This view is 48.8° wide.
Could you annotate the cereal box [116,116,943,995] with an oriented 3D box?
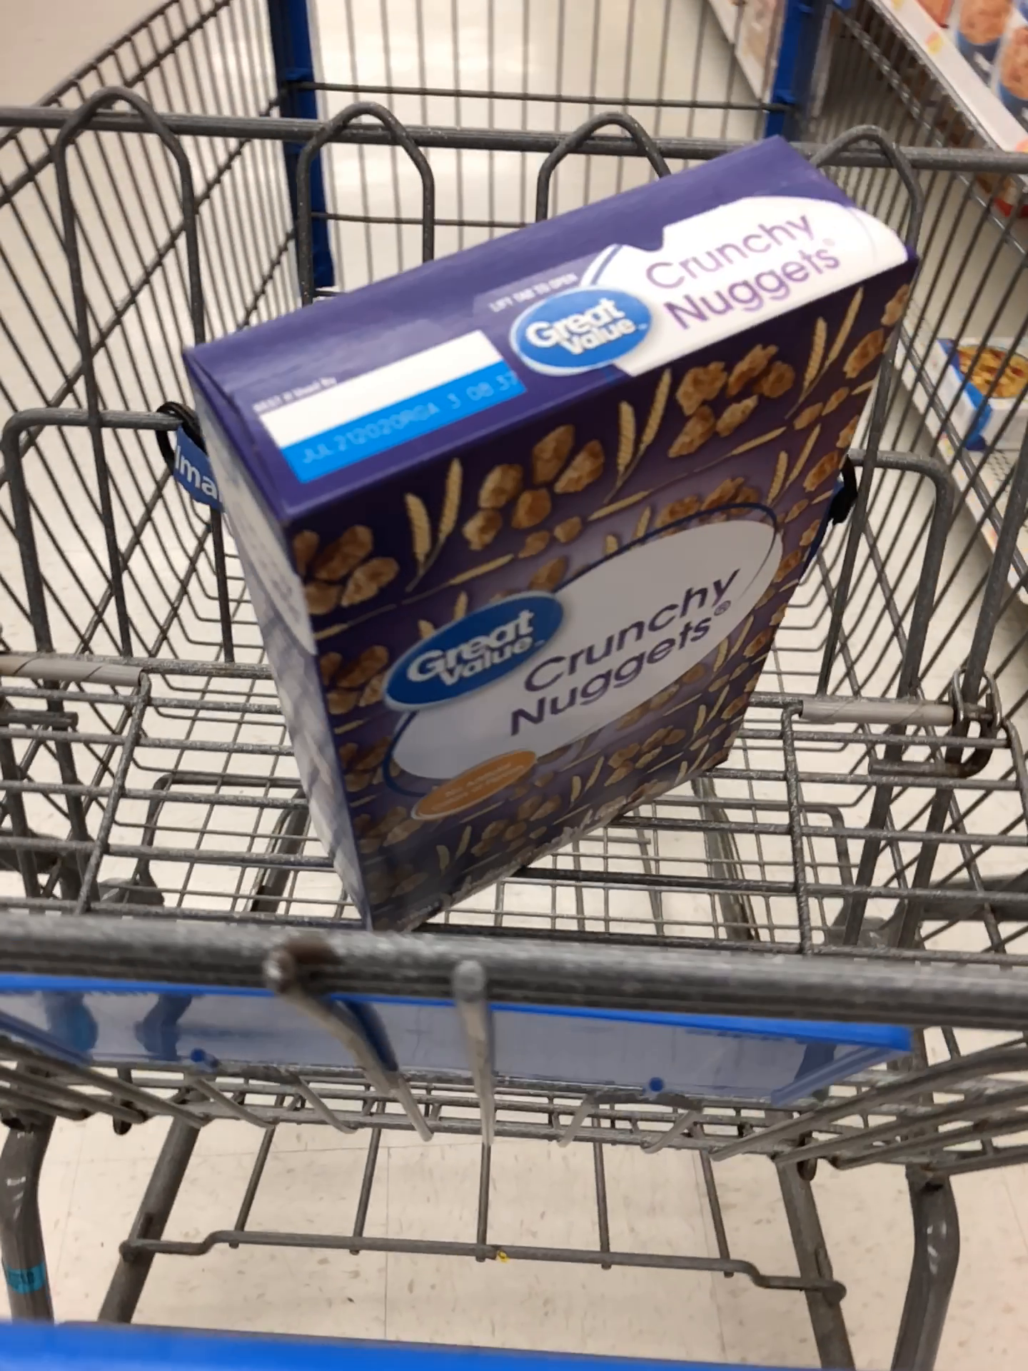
[{"bbox_3d":[0.003,-0.017,0.338,0.170,0.240,0.060,-26,61,-20],"label":"cereal box"}]
